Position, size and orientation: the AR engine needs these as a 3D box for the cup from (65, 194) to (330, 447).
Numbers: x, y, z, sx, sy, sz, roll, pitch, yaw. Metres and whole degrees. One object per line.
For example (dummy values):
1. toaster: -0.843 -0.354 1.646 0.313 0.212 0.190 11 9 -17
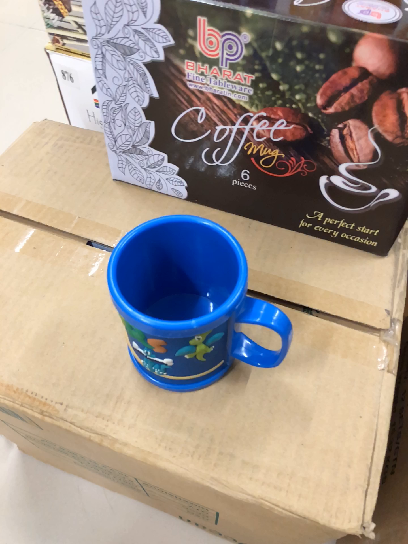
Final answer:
1. cup: -0.001 0.031 0.287 0.120 0.090 0.090 22 58 15
